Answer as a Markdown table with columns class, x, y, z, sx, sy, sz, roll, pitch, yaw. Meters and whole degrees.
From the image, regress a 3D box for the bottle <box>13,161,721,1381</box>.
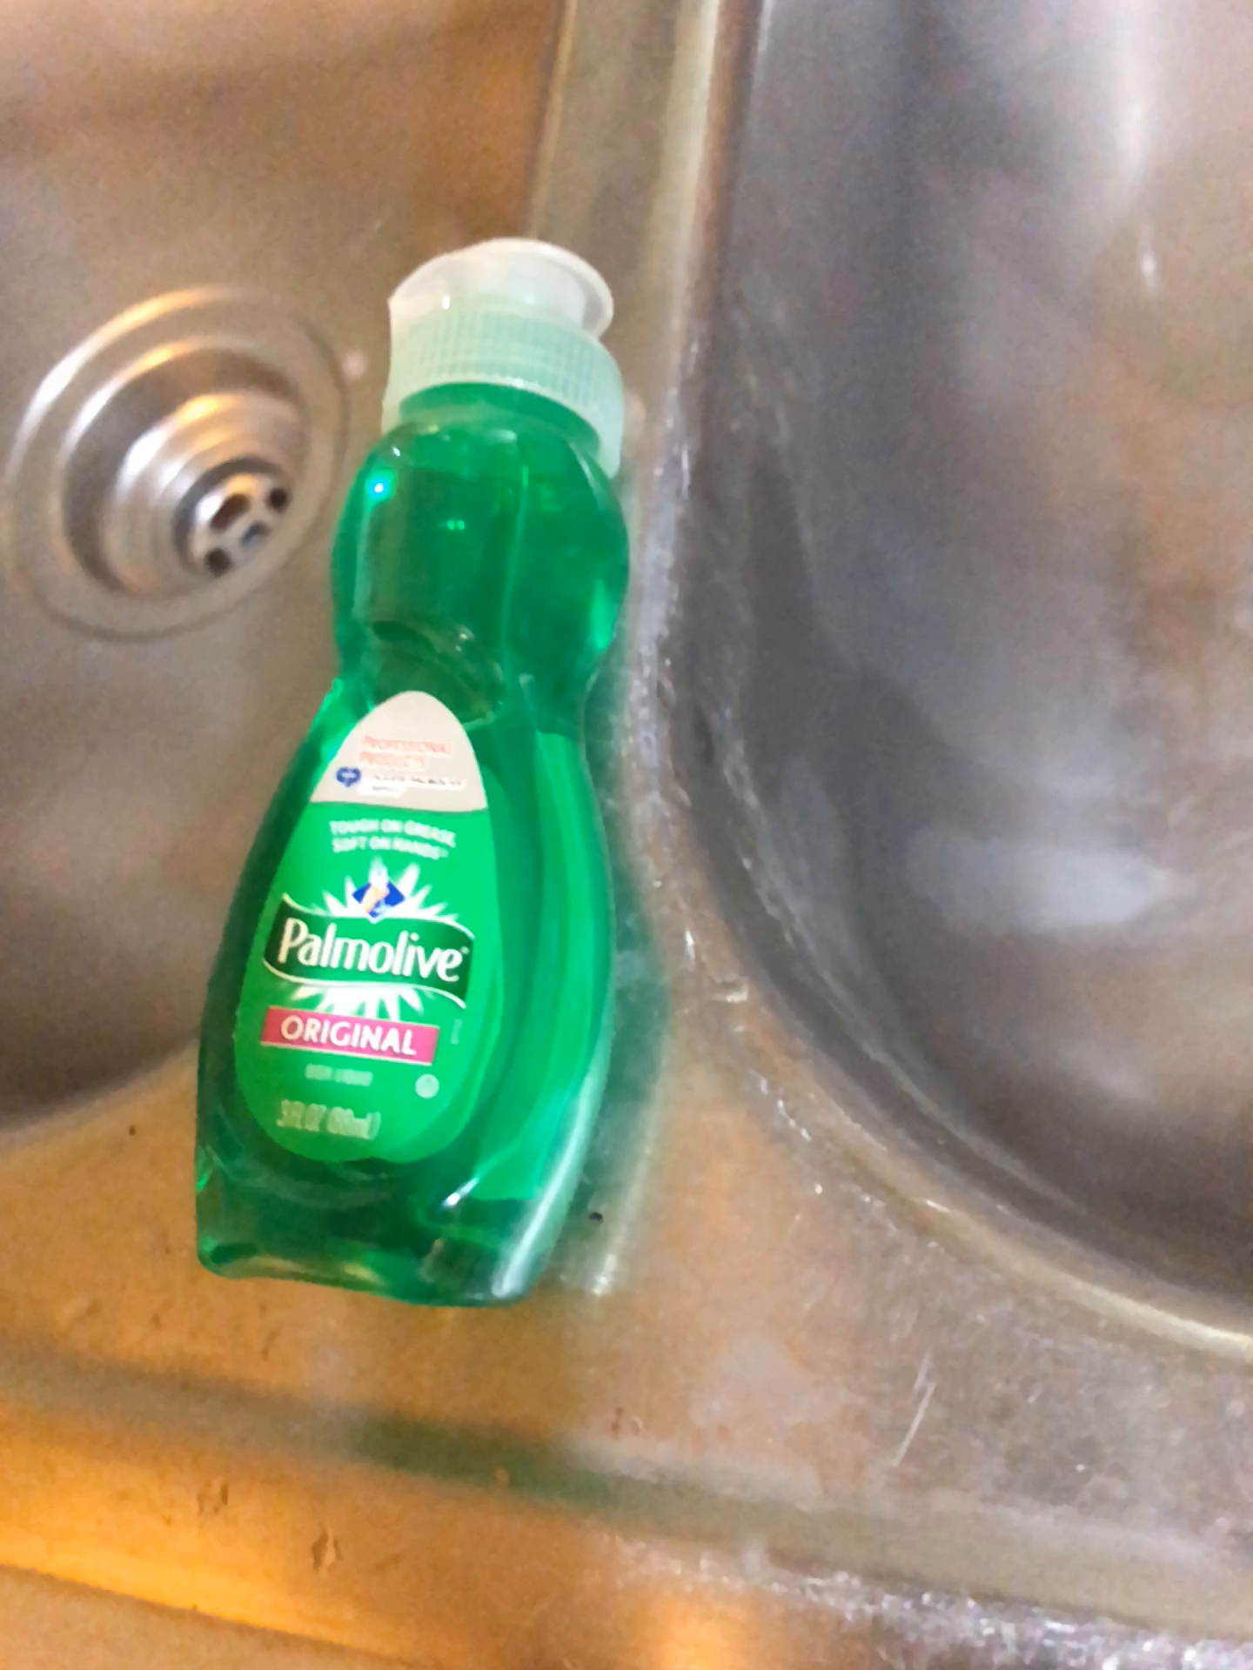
| class | x | y | z | sx | sy | sz | roll | pitch | yaw |
| --- | --- | --- | --- | --- | --- | --- | --- | --- | --- |
| bottle | -0.023 | -0.010 | 0.162 | 0.050 | 0.030 | 0.130 | 2 | 72 | 18 |
